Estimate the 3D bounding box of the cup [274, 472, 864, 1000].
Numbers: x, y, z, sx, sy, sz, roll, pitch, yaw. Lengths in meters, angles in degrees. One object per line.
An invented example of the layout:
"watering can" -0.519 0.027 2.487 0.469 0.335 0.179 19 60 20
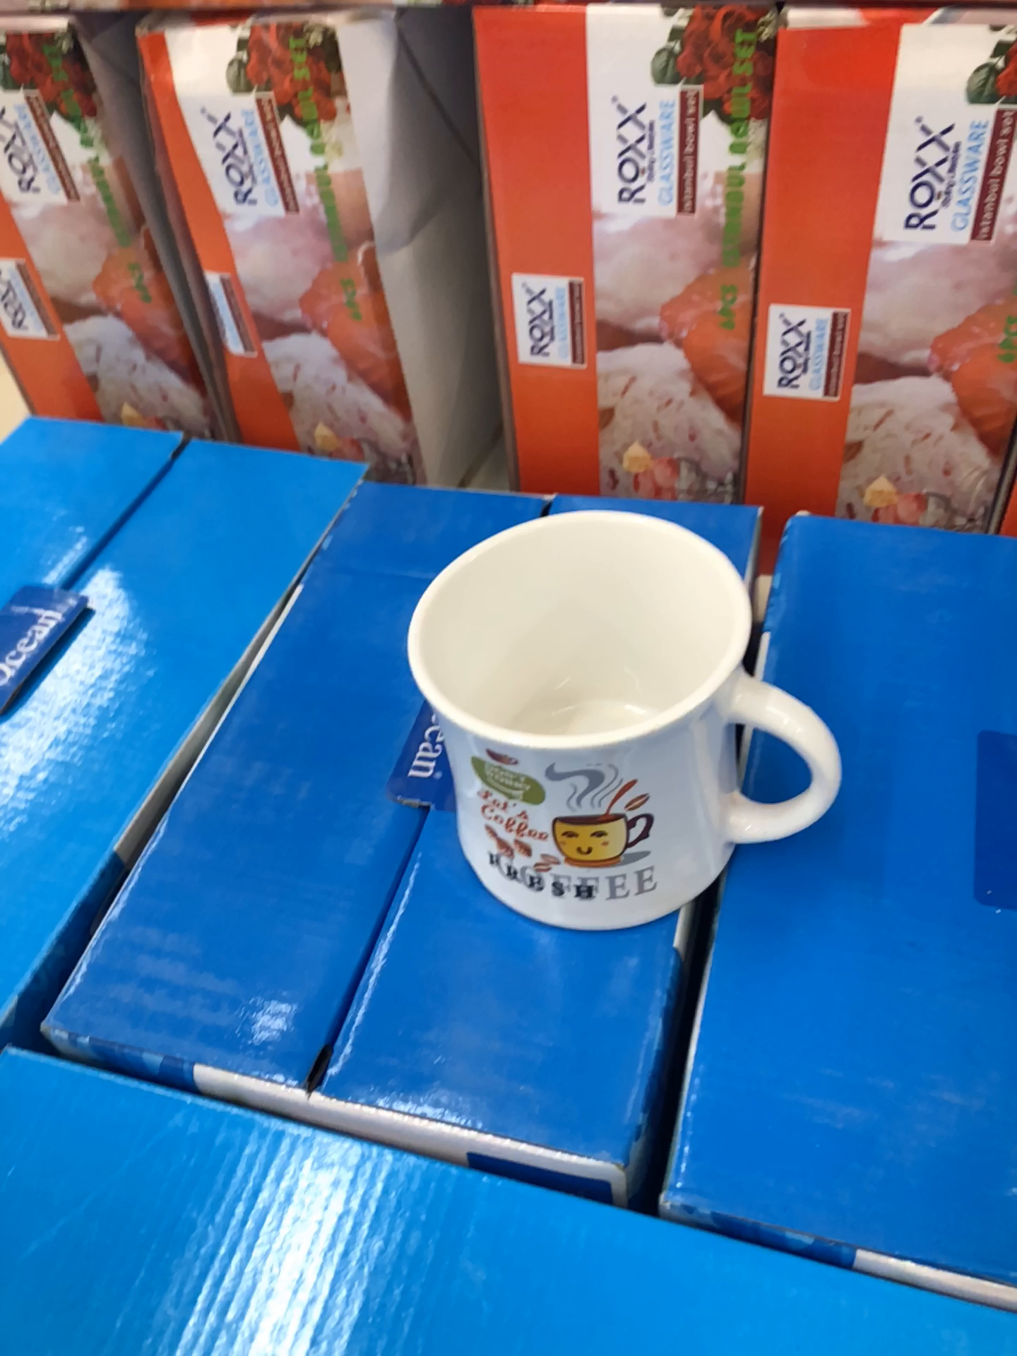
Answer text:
"cup" 0.017 0.010 0.245 0.100 0.070 0.070 9 49 15
